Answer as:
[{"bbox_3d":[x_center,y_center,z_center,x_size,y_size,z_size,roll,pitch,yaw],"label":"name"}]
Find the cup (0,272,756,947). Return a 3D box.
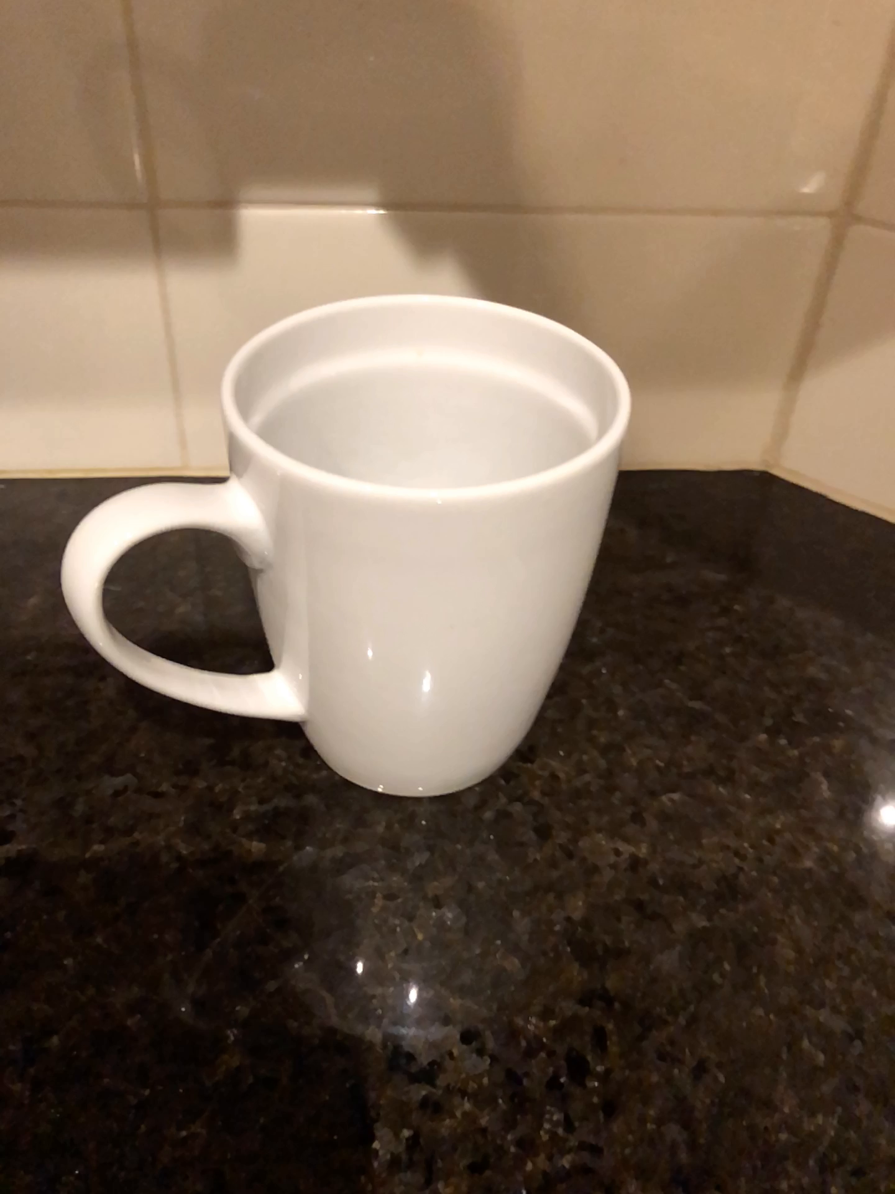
[{"bbox_3d":[-0.020,-0.006,0.232,0.130,0.090,0.090,-16,43,-23],"label":"cup"}]
